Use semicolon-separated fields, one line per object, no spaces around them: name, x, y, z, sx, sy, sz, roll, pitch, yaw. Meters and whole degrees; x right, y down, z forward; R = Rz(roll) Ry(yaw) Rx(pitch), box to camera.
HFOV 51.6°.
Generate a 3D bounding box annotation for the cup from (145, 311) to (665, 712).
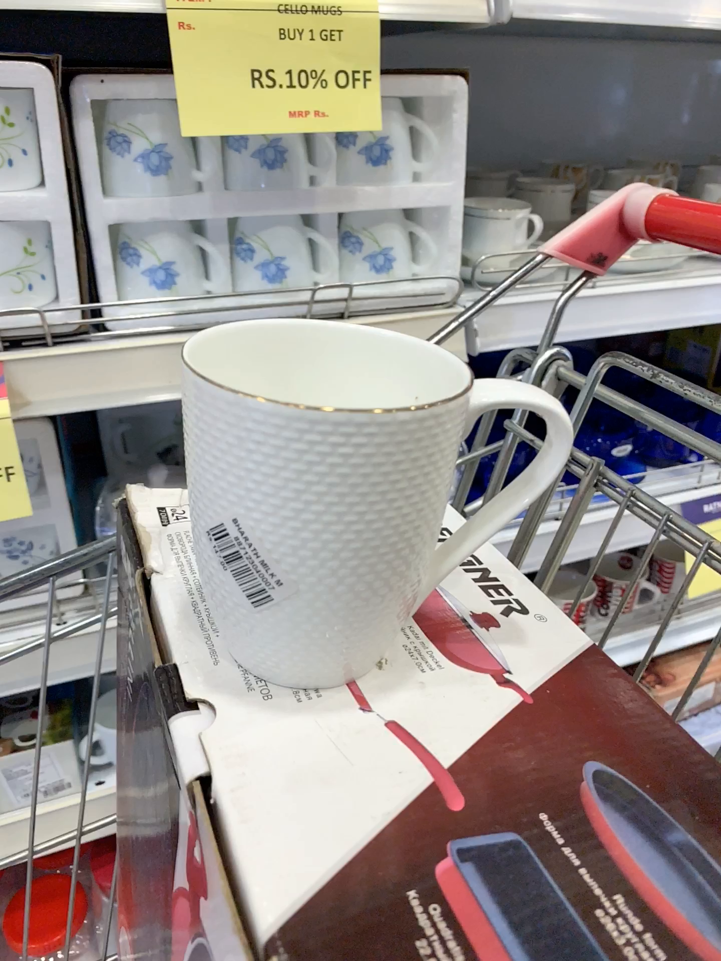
cup;0.003;0.002;0.225;0.120;0.080;0.090;-2;28;-11
